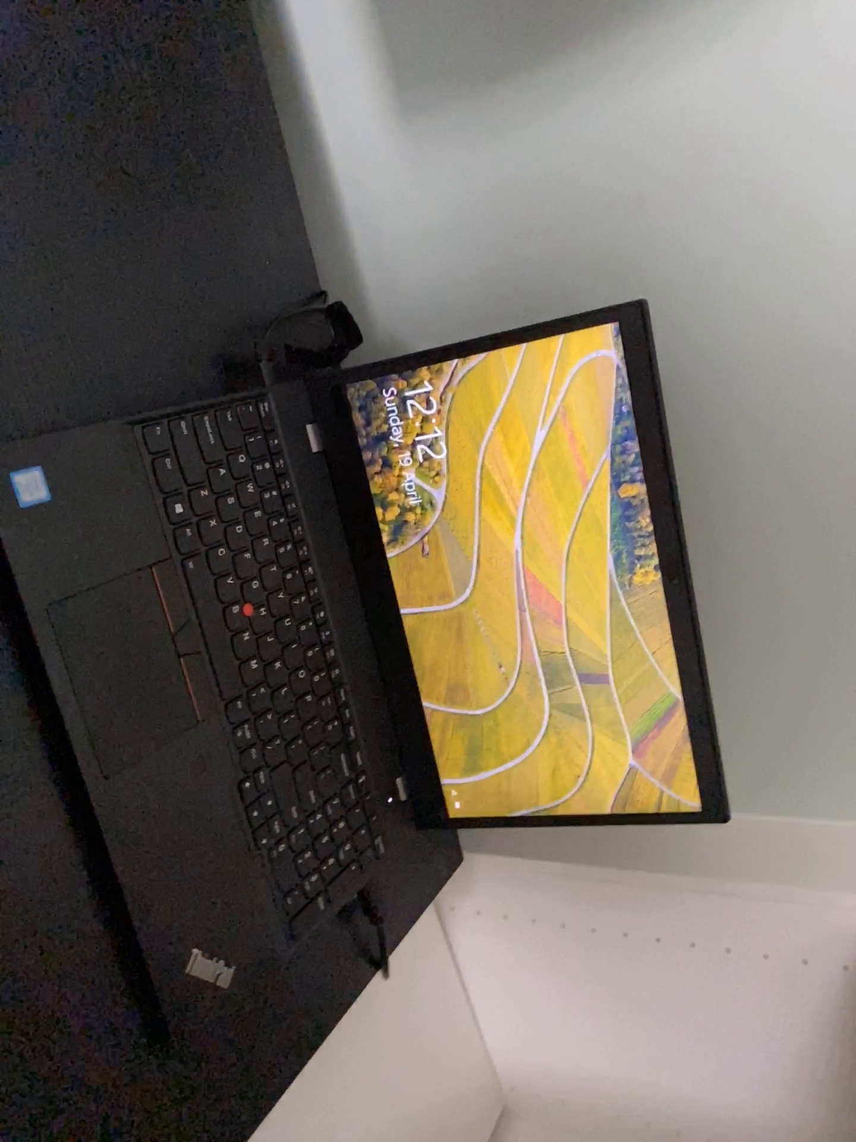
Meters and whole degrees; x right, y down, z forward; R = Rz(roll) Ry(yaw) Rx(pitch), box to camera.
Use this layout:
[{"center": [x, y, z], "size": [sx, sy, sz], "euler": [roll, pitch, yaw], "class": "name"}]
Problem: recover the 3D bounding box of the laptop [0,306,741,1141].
[{"center": [0.000, 0.058, 0.514], "size": [0.295, 0.231, 0.351], "euler": [-30, 111, -53], "class": "laptop"}]
